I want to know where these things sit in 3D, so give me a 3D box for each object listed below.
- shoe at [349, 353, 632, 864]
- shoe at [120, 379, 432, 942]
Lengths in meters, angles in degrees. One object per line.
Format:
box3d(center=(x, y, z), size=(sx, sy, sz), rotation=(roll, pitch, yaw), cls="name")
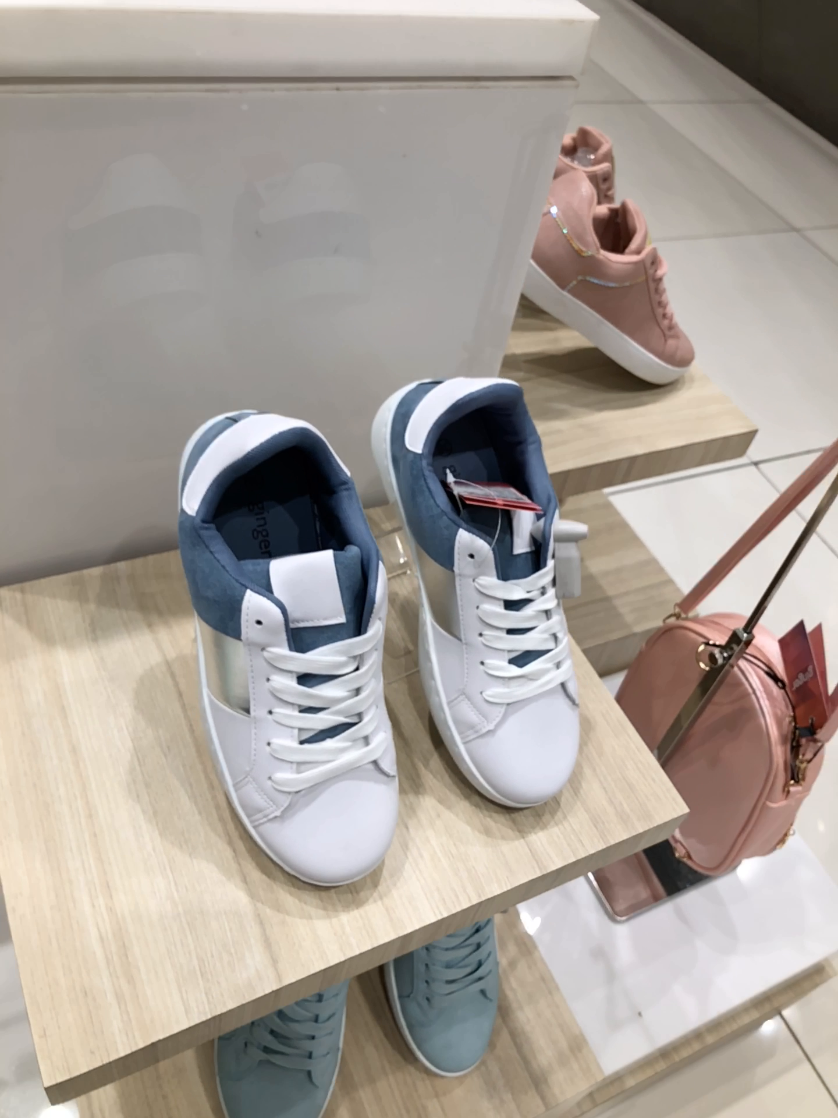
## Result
box3d(center=(0.042, 0.022, 0.537), size=(0.100, 0.259, 0.090), rotation=(-13, 11, -24), cls="shoe")
box3d(center=(-0.075, 0.045, 0.491), size=(0.100, 0.259, 0.090), rotation=(-13, 11, -24), cls="shoe")
